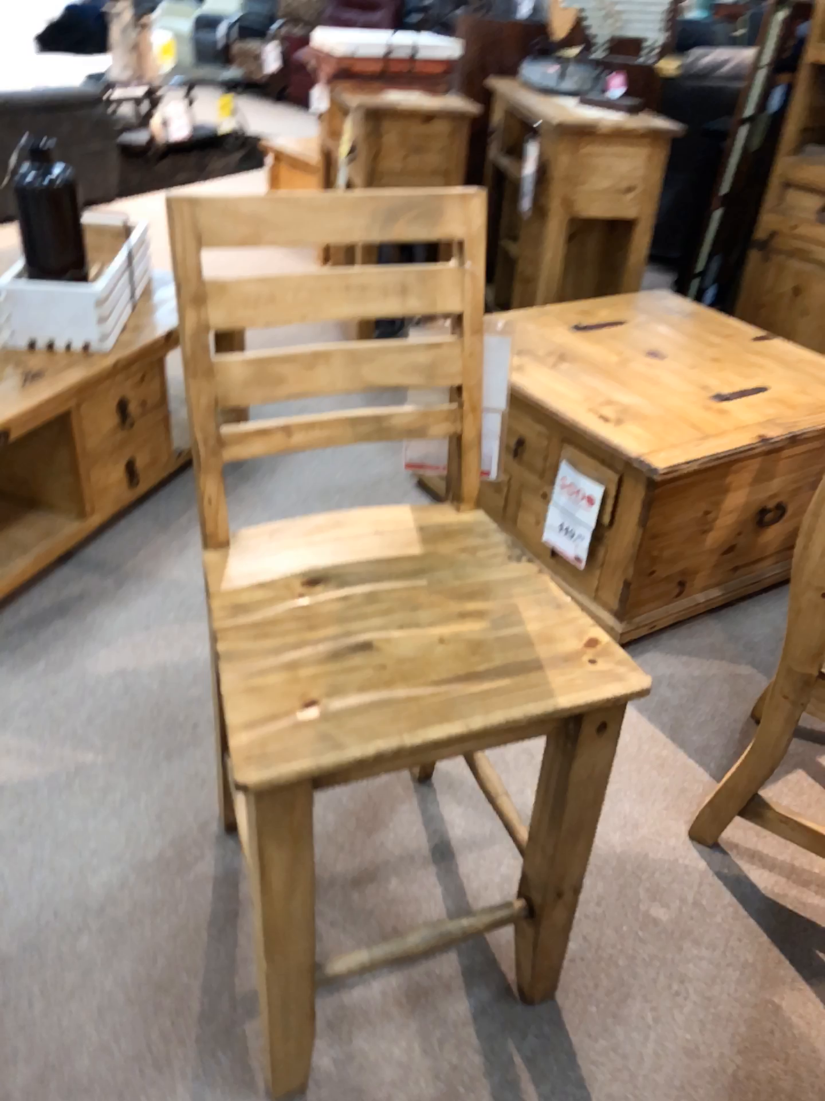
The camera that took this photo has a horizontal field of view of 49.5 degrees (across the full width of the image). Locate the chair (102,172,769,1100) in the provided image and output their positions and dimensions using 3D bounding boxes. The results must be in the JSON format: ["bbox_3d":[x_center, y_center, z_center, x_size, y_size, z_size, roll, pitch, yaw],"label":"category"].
[{"bbox_3d":[-0.048,0.126,1.123,0.470,1.013,0.523,-10,36,-19],"label":"chair"}]
